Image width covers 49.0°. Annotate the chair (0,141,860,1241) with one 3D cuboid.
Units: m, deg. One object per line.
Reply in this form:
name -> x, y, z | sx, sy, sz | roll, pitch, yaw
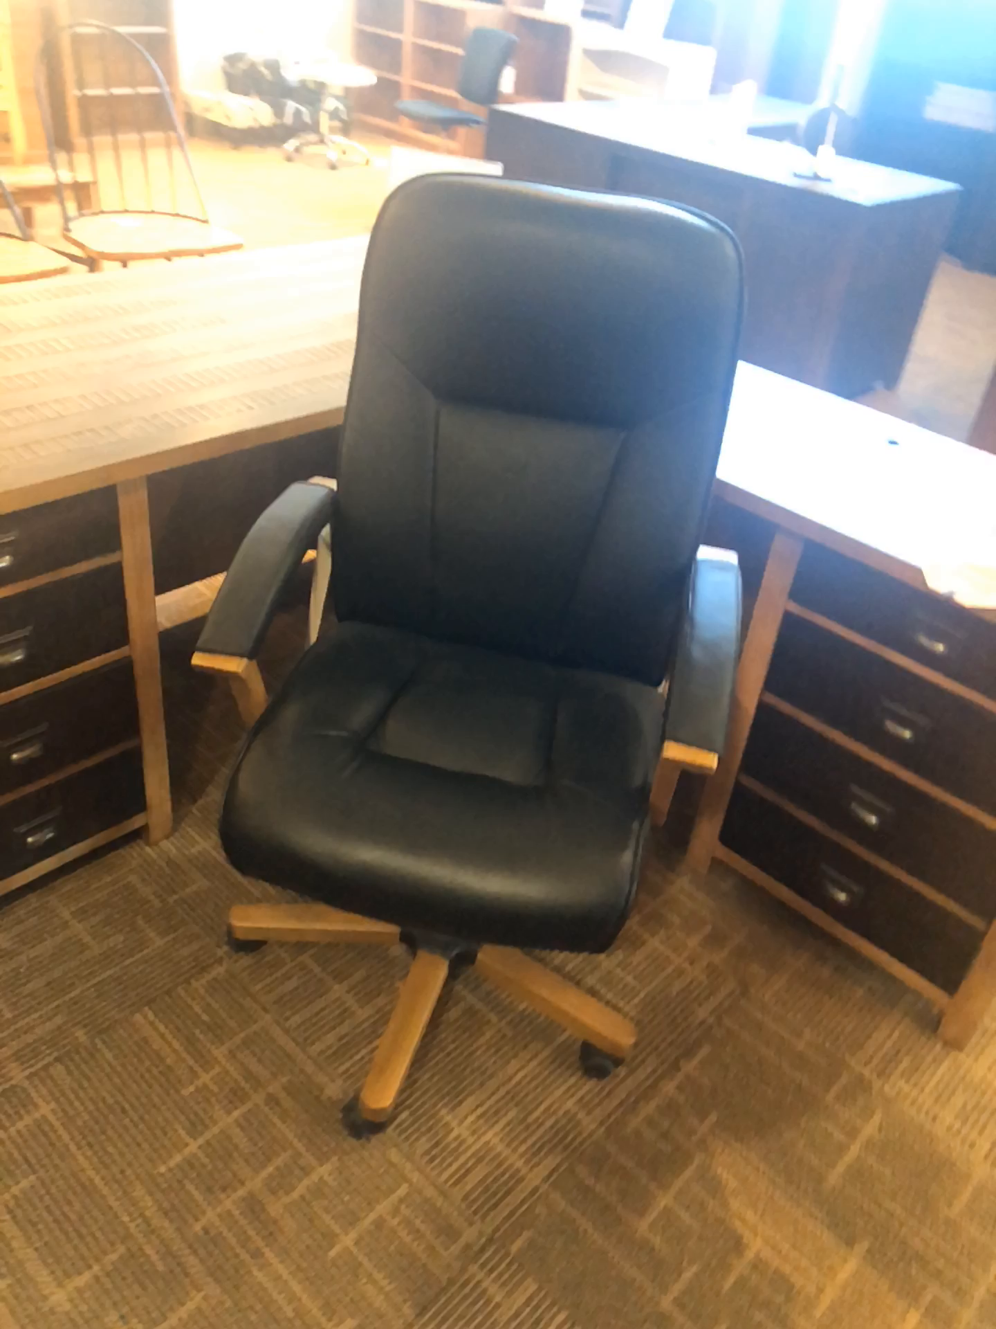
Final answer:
chair -> -0.048, 0.009, 1.464 | 0.738, 1.104, 0.746 | 14, 35, 10
